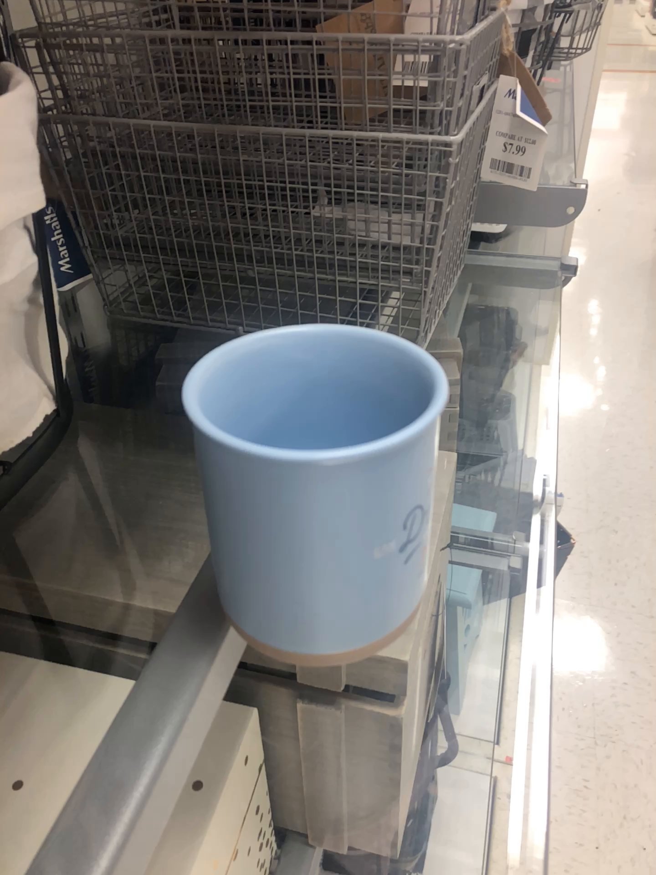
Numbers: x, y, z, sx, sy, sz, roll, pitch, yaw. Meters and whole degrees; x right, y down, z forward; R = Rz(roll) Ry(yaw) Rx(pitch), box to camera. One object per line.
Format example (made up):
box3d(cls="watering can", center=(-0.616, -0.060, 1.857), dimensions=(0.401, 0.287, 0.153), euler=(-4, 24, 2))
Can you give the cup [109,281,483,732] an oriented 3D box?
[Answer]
box3d(cls="cup", center=(0.001, 0.016, 0.288), dimensions=(0.100, 0.100, 0.139), euler=(7, 36, 12))
